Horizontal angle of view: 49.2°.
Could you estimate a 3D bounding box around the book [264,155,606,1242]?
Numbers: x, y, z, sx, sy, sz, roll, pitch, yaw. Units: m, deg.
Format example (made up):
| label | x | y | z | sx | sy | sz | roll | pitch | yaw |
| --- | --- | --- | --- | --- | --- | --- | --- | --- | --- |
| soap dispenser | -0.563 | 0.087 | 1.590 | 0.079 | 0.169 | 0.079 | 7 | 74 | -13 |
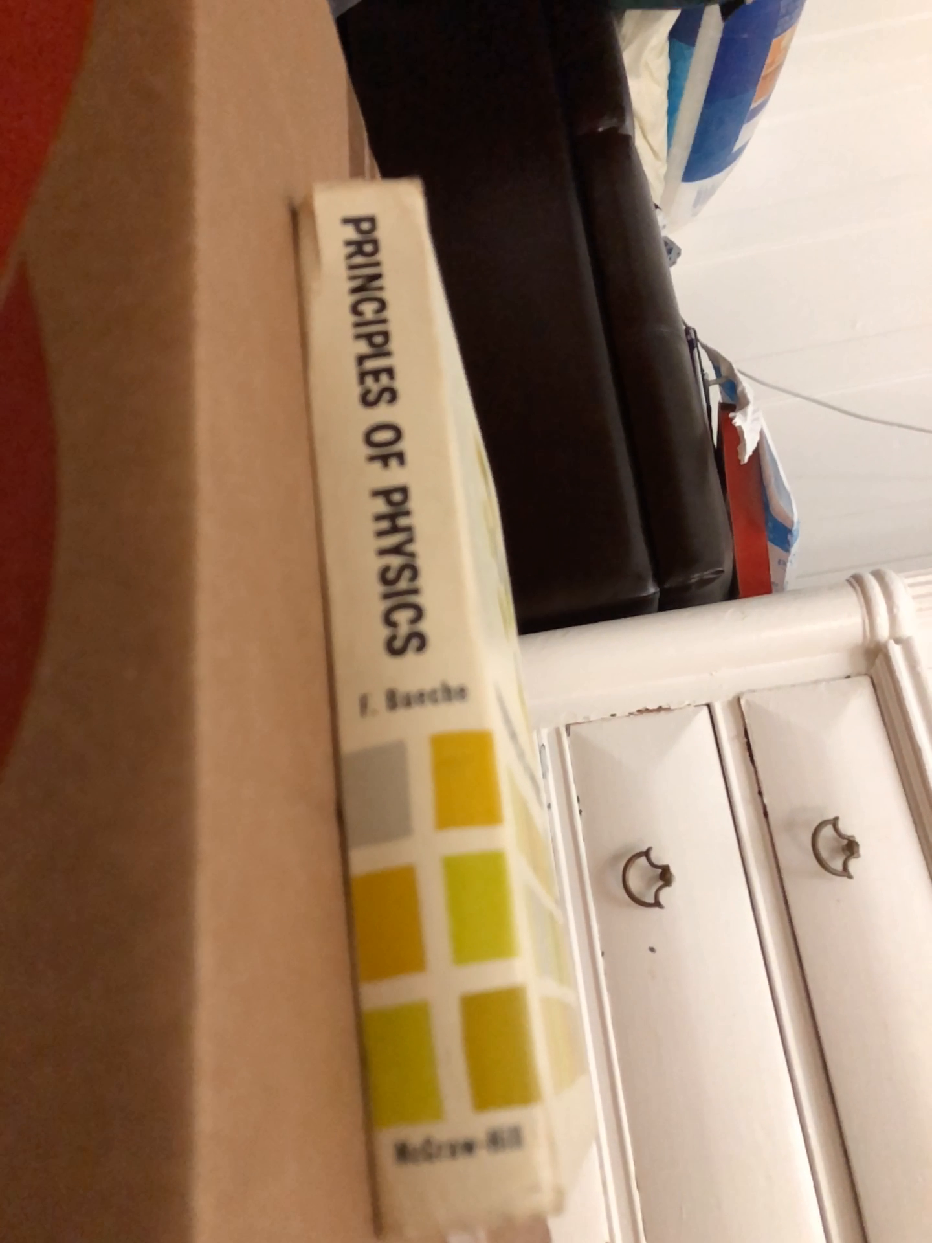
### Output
| label | x | y | z | sx | sy | sz | roll | pitch | yaw |
| --- | --- | --- | --- | --- | --- | --- | --- | --- | --- |
| book | -0.004 | 0.029 | 0.300 | 0.180 | 0.040 | 0.250 | 66 | 15 | -66 |
